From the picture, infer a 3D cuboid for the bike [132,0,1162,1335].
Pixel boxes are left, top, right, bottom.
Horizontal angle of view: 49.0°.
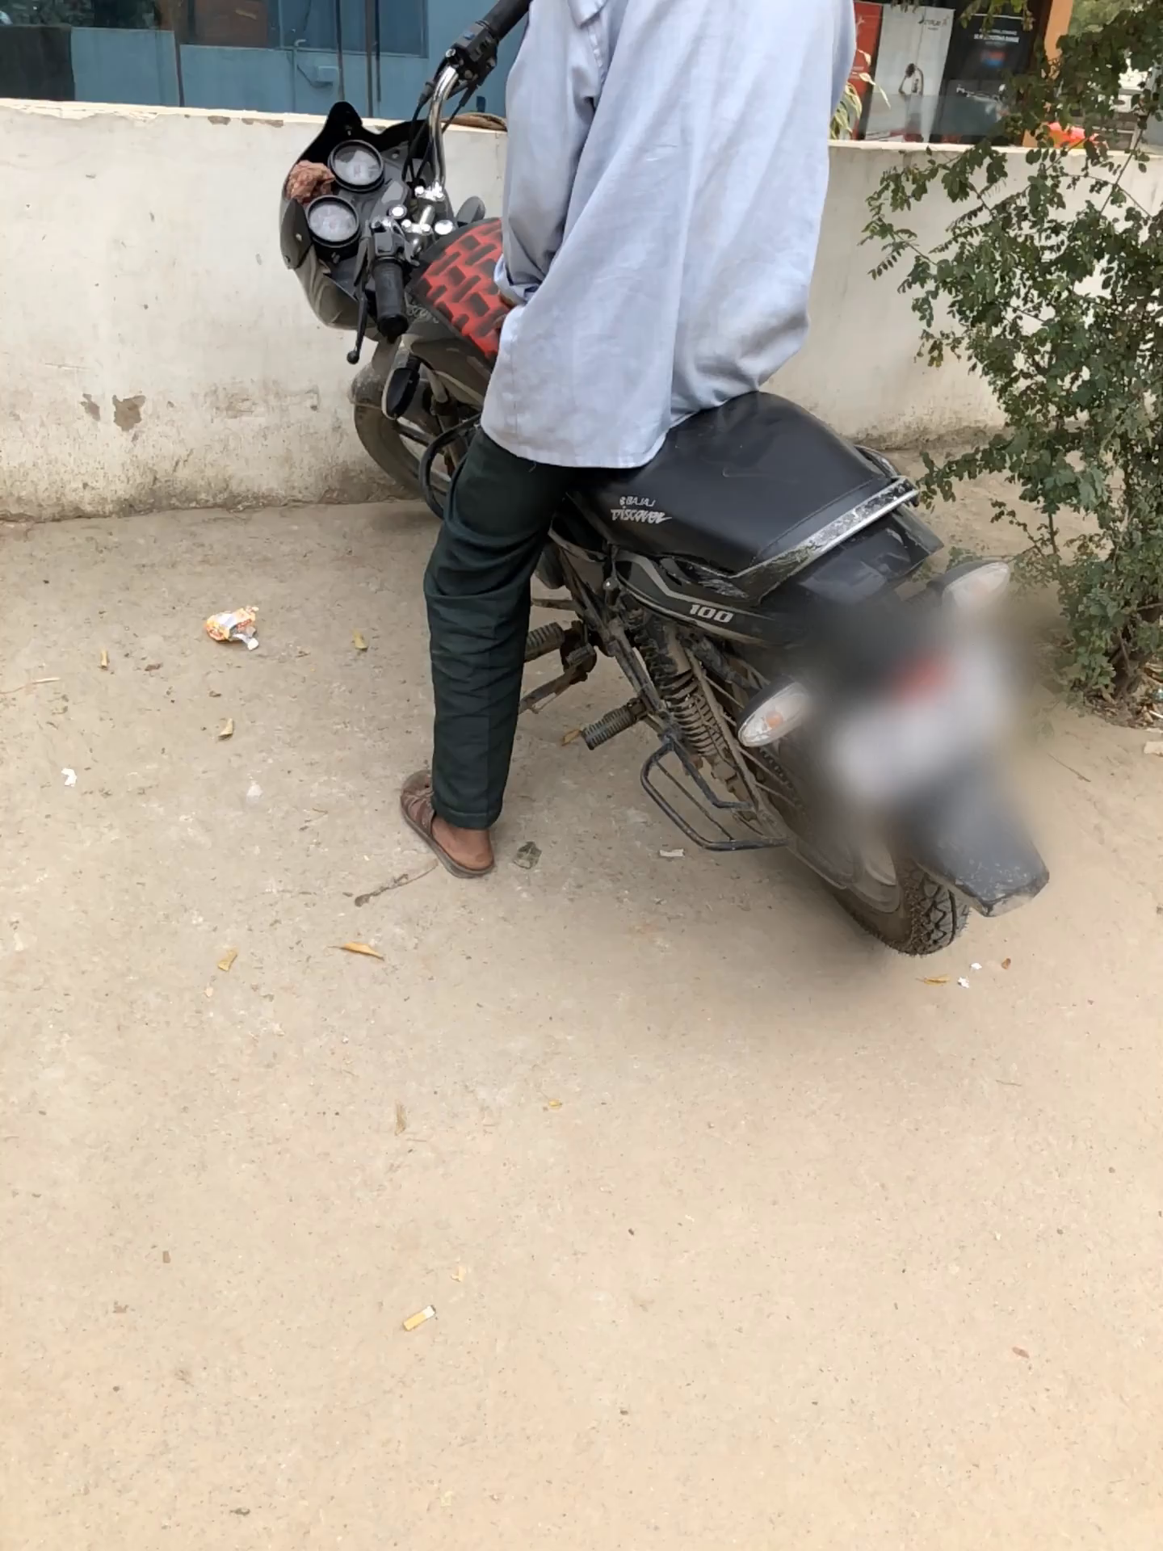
[{"bbox_3d":[-0.037,-0.403,1.892,0.788,1.333,1.502,-13,35,-27],"label":"bike"}]
